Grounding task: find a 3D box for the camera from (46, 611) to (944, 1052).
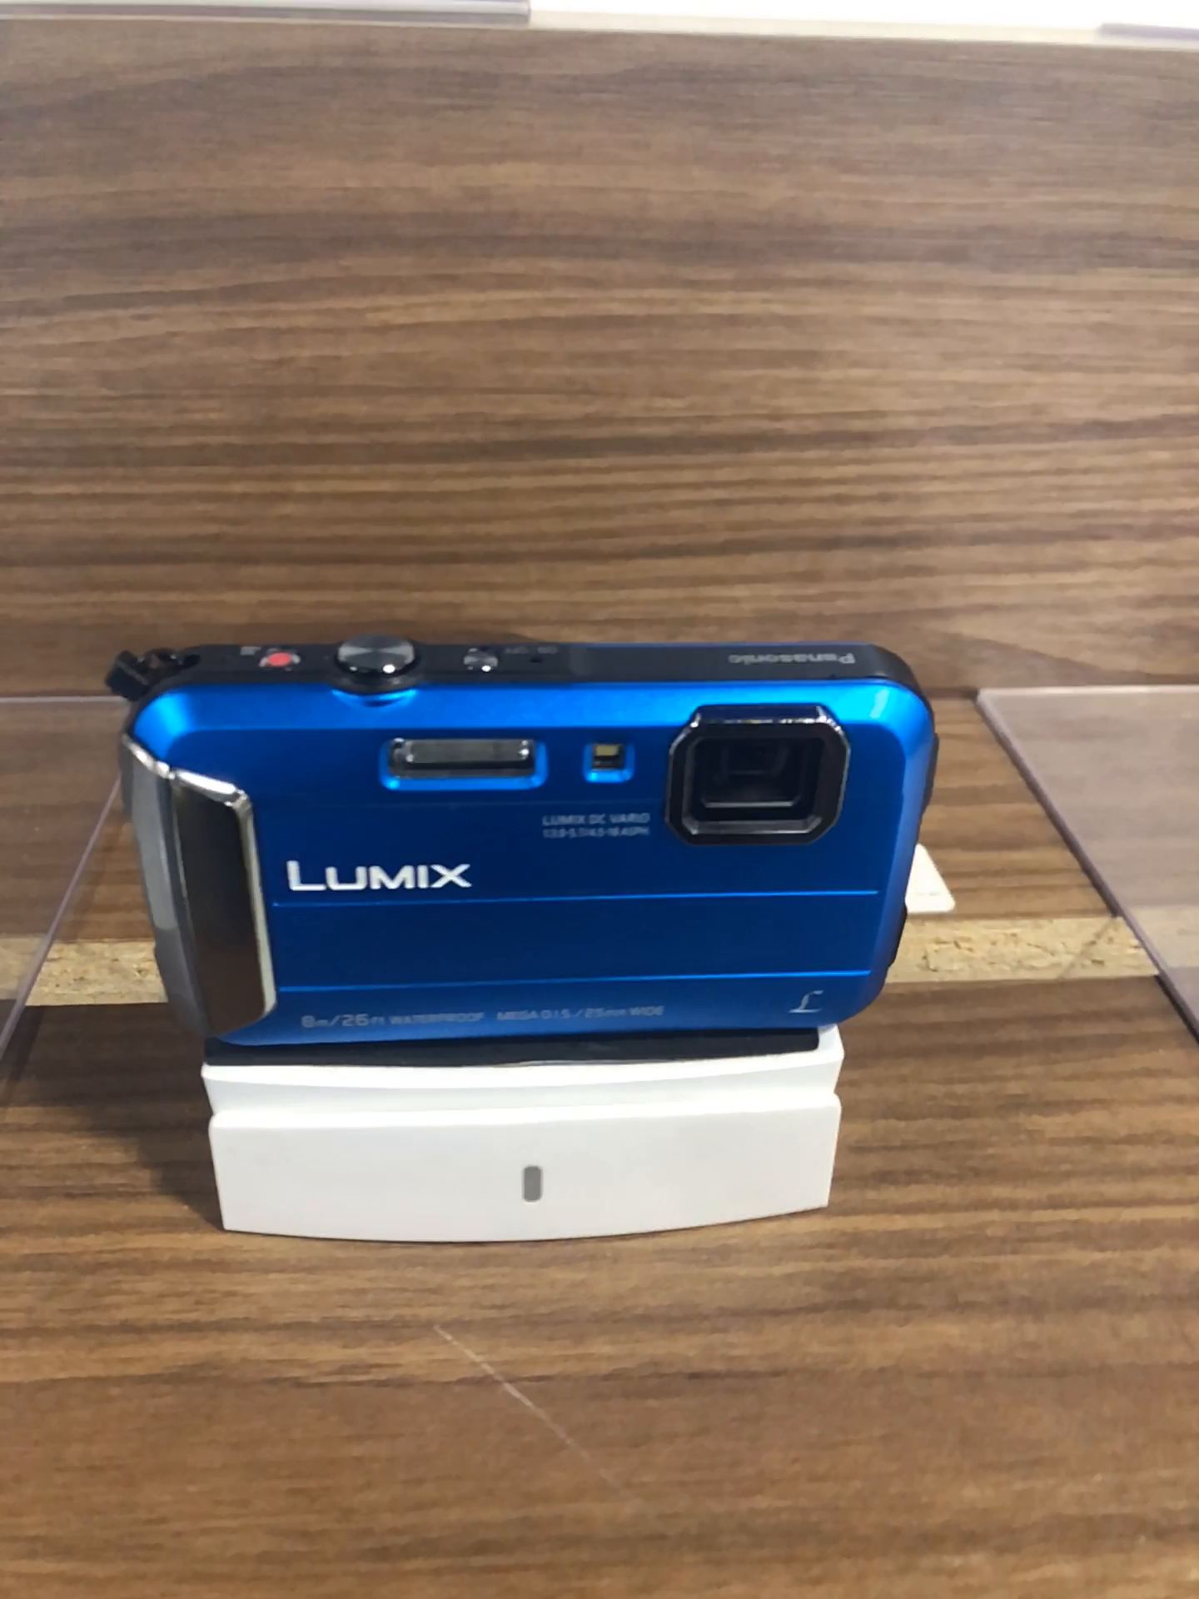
[{"bbox_3d":[-0.012,0.004,0.174,0.100,0.051,0.023,-1,35,-5],"label":"camera"}]
